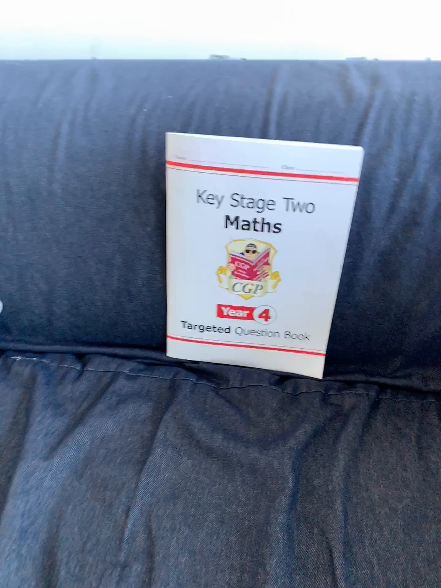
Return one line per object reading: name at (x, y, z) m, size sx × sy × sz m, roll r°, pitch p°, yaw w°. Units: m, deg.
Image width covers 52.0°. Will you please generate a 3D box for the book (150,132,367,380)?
book at (0.032, -0.039, 0.518) m, size 0.220 × 0.266 × 0.030 m, roll 6°, pitch 22°, yaw 9°
